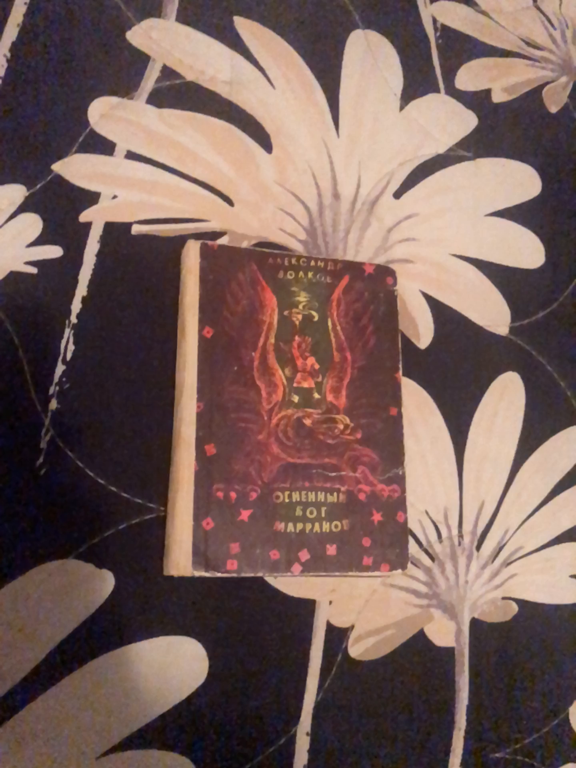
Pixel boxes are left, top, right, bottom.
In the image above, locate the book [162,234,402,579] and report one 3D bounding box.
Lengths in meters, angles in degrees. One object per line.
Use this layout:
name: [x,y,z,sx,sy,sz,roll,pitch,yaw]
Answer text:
book: [0.002,0.016,0.420,0.152,0.019,0.211,5,79,-18]
